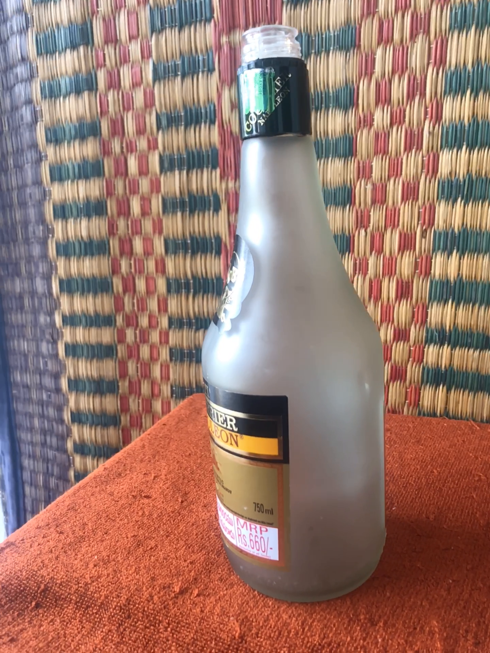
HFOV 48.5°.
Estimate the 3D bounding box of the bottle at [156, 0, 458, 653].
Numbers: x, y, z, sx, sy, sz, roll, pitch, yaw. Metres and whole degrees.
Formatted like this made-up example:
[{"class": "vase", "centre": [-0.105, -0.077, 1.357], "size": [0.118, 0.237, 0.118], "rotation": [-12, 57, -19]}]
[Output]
[{"class": "bottle", "centre": [0.023, -0.002, 0.249], "size": [0.090, 0.249, 0.100], "rotation": [-8, 17, -12]}]
